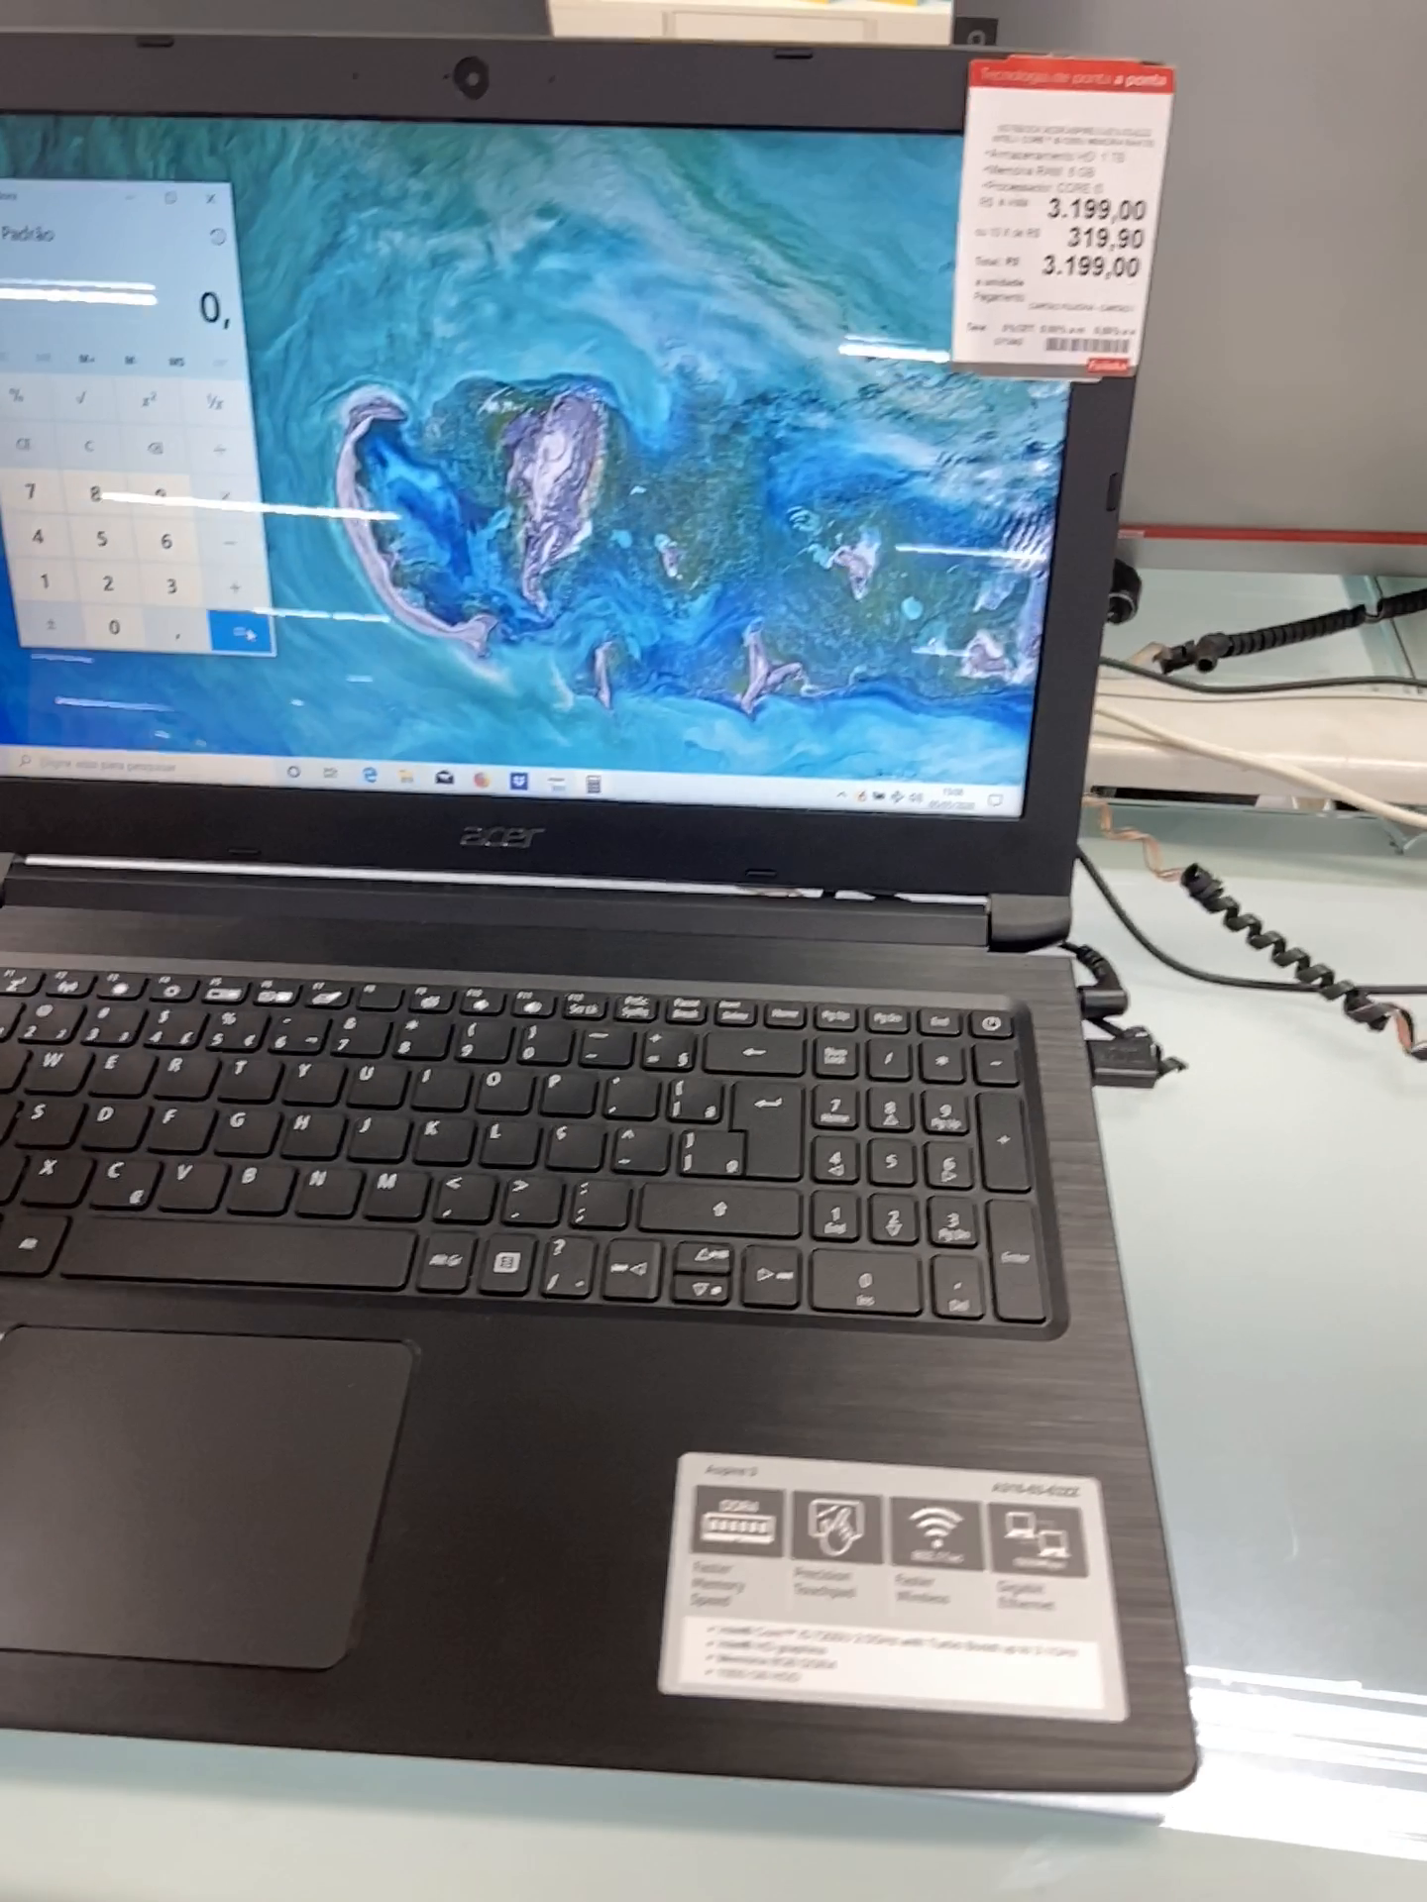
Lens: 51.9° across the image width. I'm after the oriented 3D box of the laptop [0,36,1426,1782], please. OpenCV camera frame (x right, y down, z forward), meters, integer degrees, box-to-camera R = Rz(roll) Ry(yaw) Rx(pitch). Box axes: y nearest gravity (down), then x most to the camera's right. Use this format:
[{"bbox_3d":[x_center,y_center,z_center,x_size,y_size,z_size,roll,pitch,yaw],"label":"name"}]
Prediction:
[{"bbox_3d":[-0.074,-0.042,0.356,0.374,0.227,0.354,2,46,3],"label":"laptop"}]
